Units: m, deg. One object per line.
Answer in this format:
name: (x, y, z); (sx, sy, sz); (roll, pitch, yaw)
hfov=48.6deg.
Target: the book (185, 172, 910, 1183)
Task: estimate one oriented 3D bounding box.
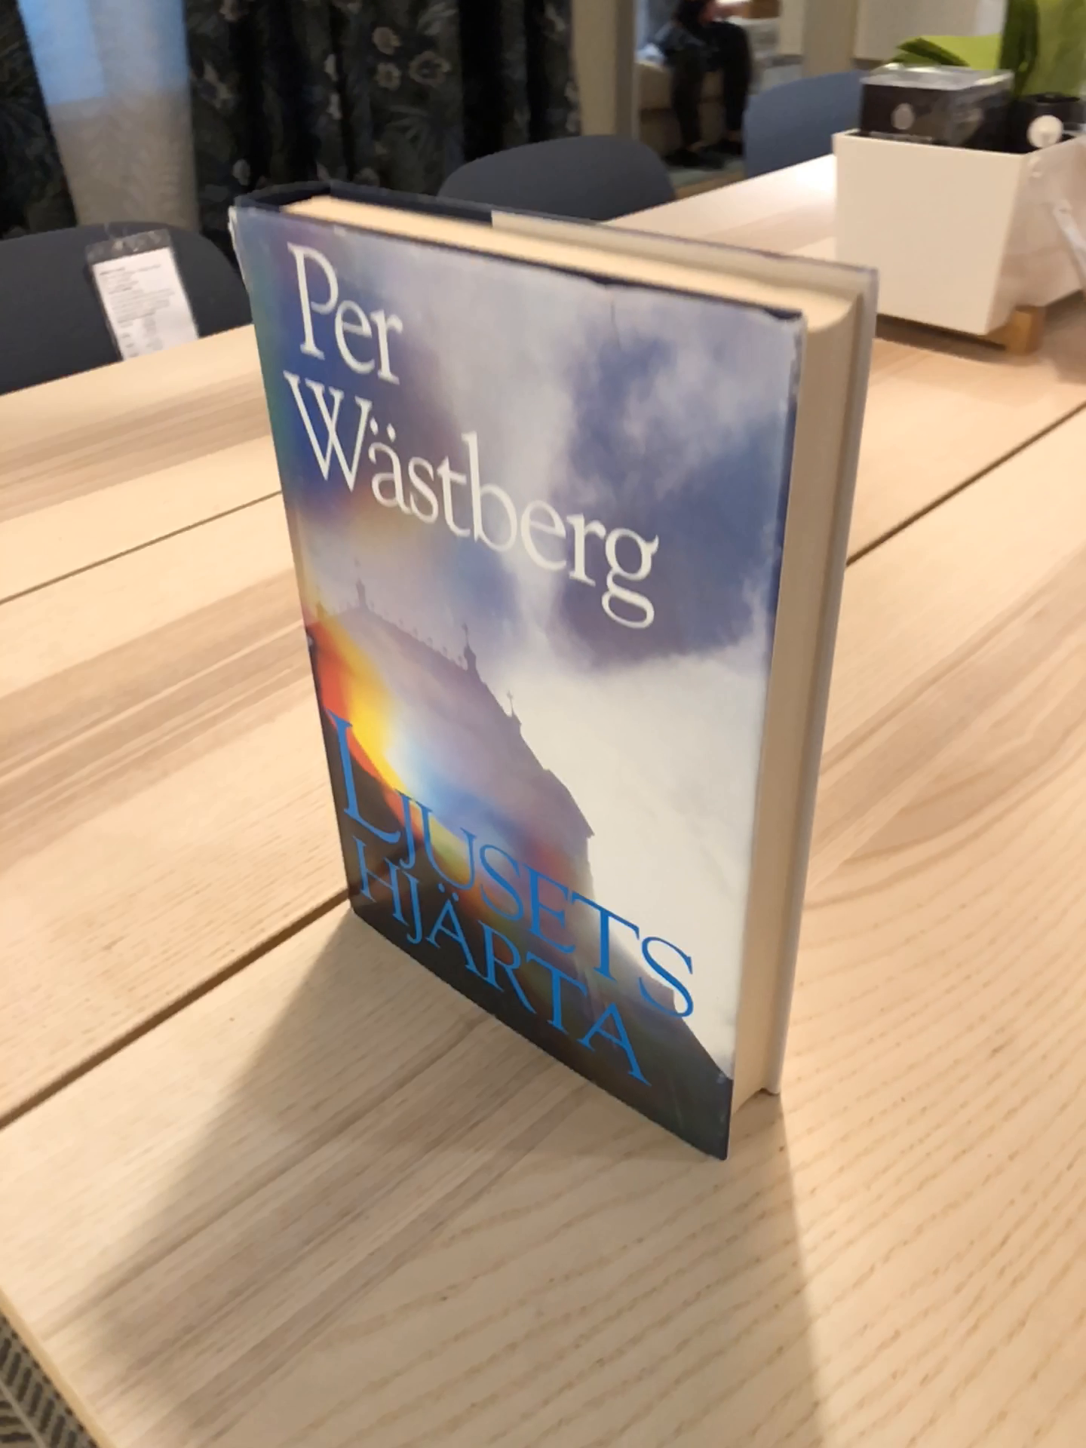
book: (-0.006, -0.012, 0.312); (0.166, 0.221, 0.042); (26, 43, 35)
